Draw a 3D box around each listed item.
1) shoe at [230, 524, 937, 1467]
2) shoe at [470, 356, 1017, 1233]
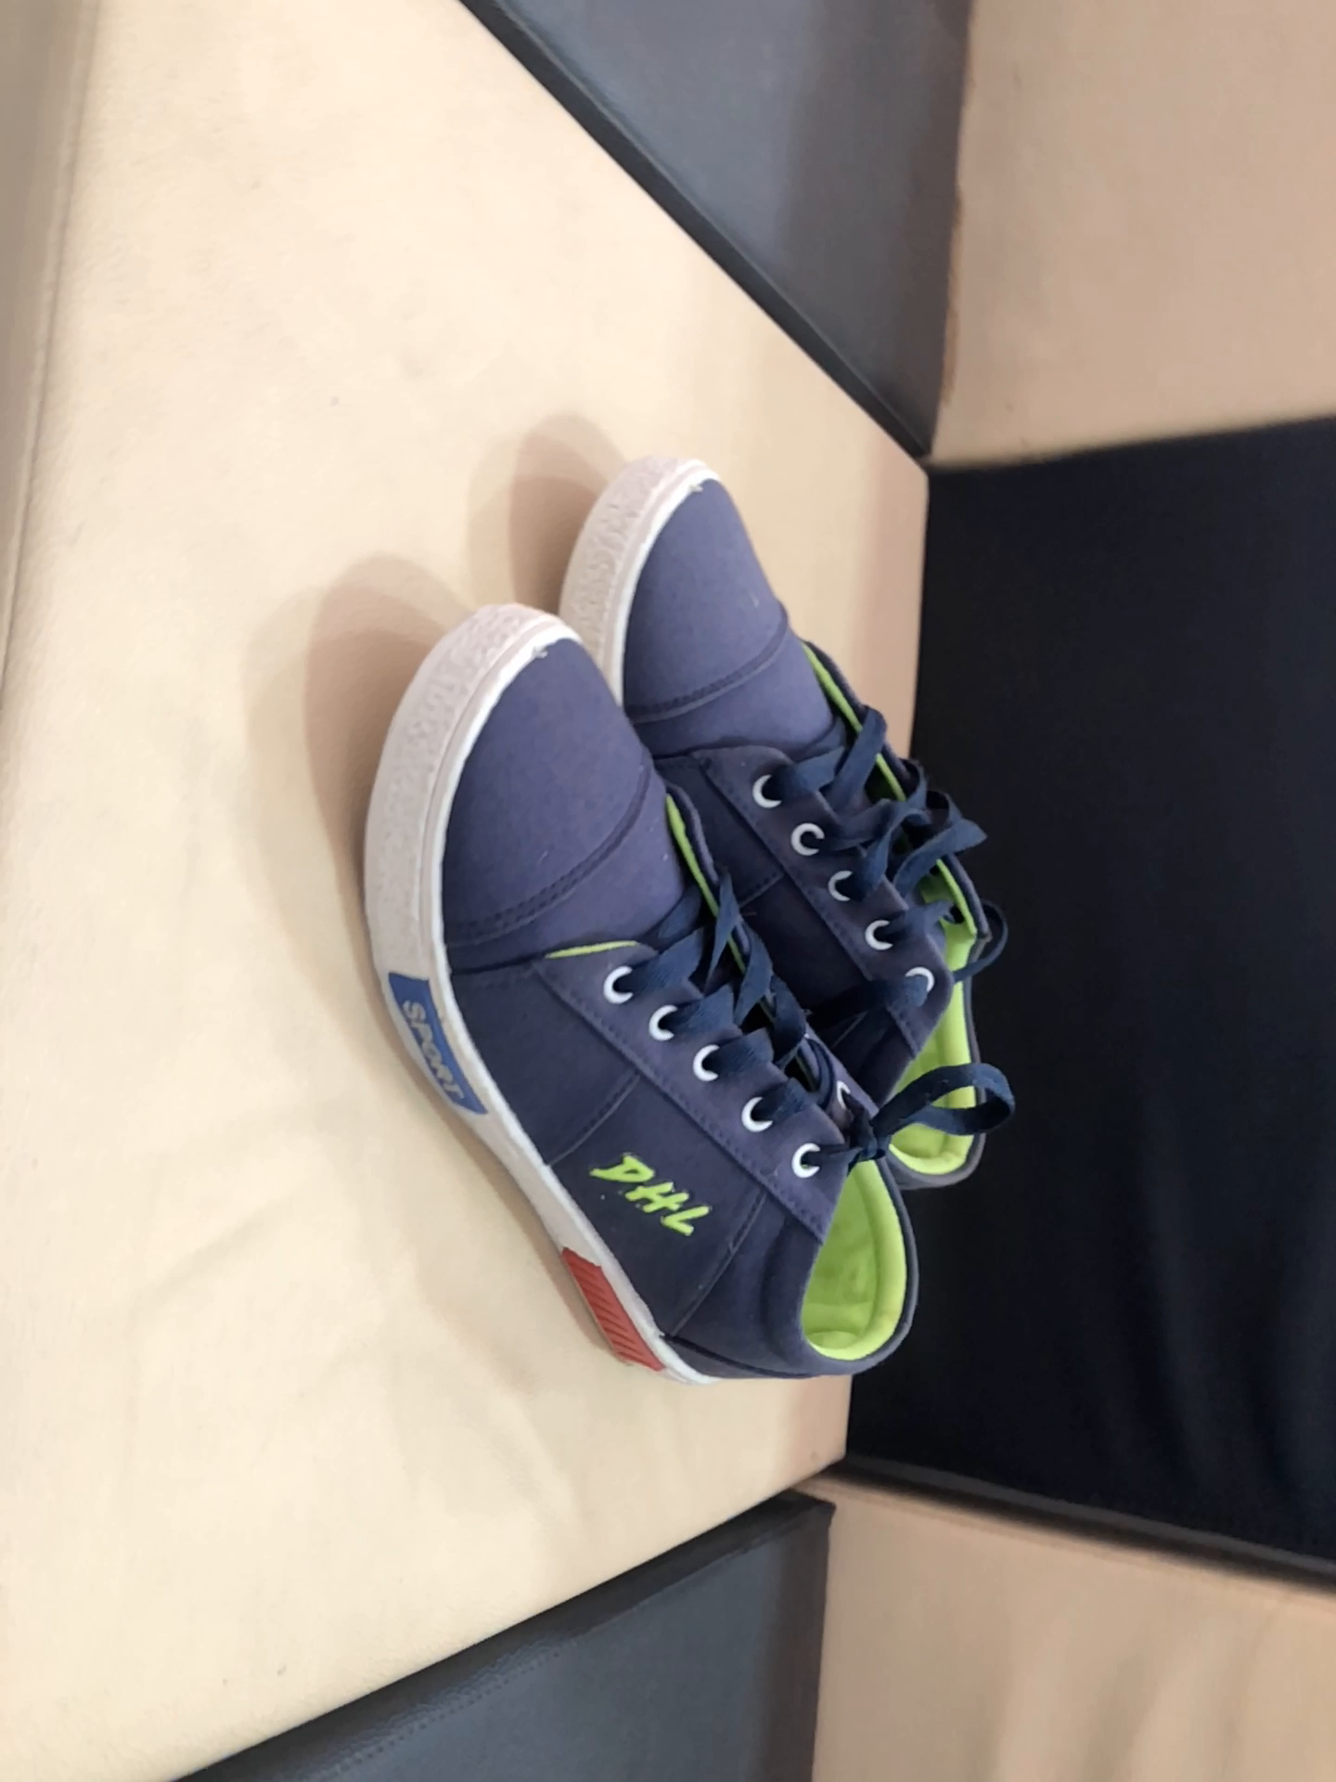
[{"bbox_3d":[-0.005,0.040,0.422,0.090,0.089,0.261,-56,137,-41],"label":"shoe"},{"bbox_3d":[0.040,-0.018,0.482,0.090,0.079,0.271,-56,137,-41],"label":"shoe"}]
